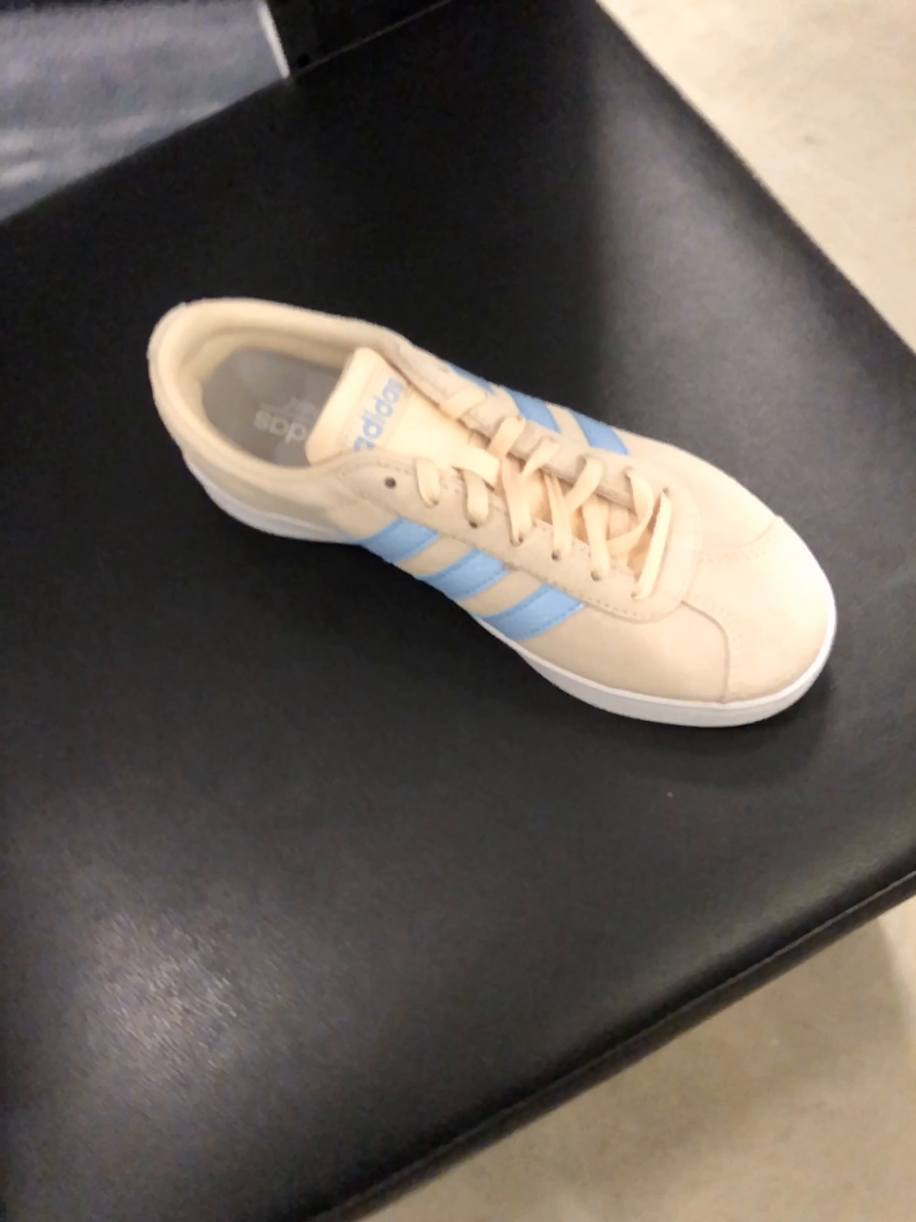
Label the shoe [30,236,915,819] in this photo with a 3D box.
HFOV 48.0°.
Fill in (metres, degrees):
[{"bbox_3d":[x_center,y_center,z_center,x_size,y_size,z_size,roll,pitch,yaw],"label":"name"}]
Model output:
[{"bbox_3d":[0.002,-0.032,0.363,0.260,0.090,0.100,20,71,15],"label":"shoe"}]
